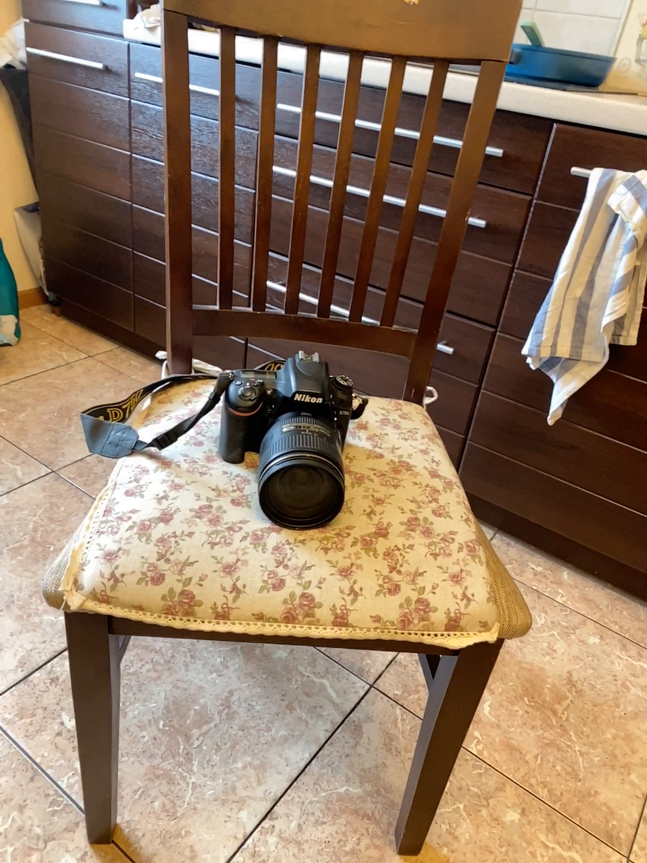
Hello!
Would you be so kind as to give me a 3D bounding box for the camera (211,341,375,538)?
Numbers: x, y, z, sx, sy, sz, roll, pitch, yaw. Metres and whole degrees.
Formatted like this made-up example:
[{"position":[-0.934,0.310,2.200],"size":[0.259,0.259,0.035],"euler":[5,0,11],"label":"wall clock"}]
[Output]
[{"position":[-0.036,0.003,0.660],"size":[0.135,0.119,0.165],"euler":[5,29,-7],"label":"camera"}]
